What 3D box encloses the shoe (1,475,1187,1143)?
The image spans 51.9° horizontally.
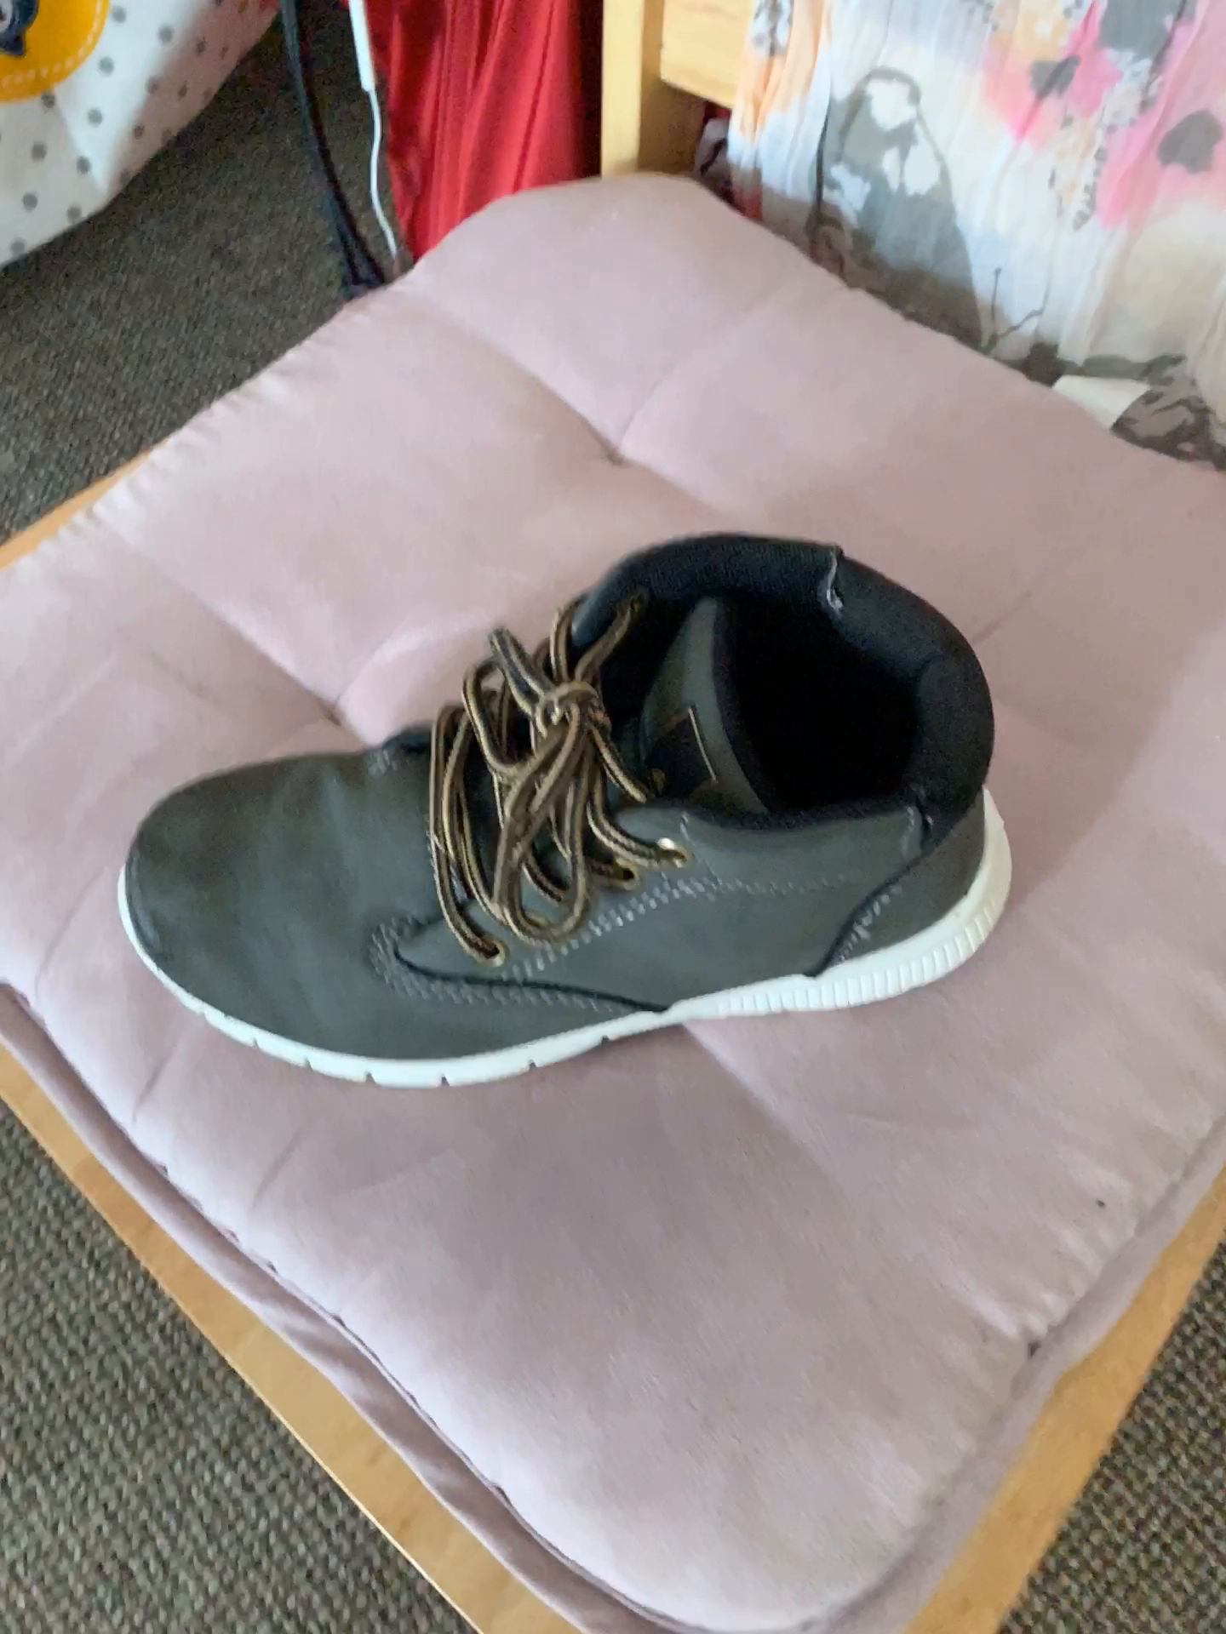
[{"bbox_3d":[-0.007,0.008,0.322,0.230,0.129,0.100,-7,66,-1],"label":"shoe"}]
